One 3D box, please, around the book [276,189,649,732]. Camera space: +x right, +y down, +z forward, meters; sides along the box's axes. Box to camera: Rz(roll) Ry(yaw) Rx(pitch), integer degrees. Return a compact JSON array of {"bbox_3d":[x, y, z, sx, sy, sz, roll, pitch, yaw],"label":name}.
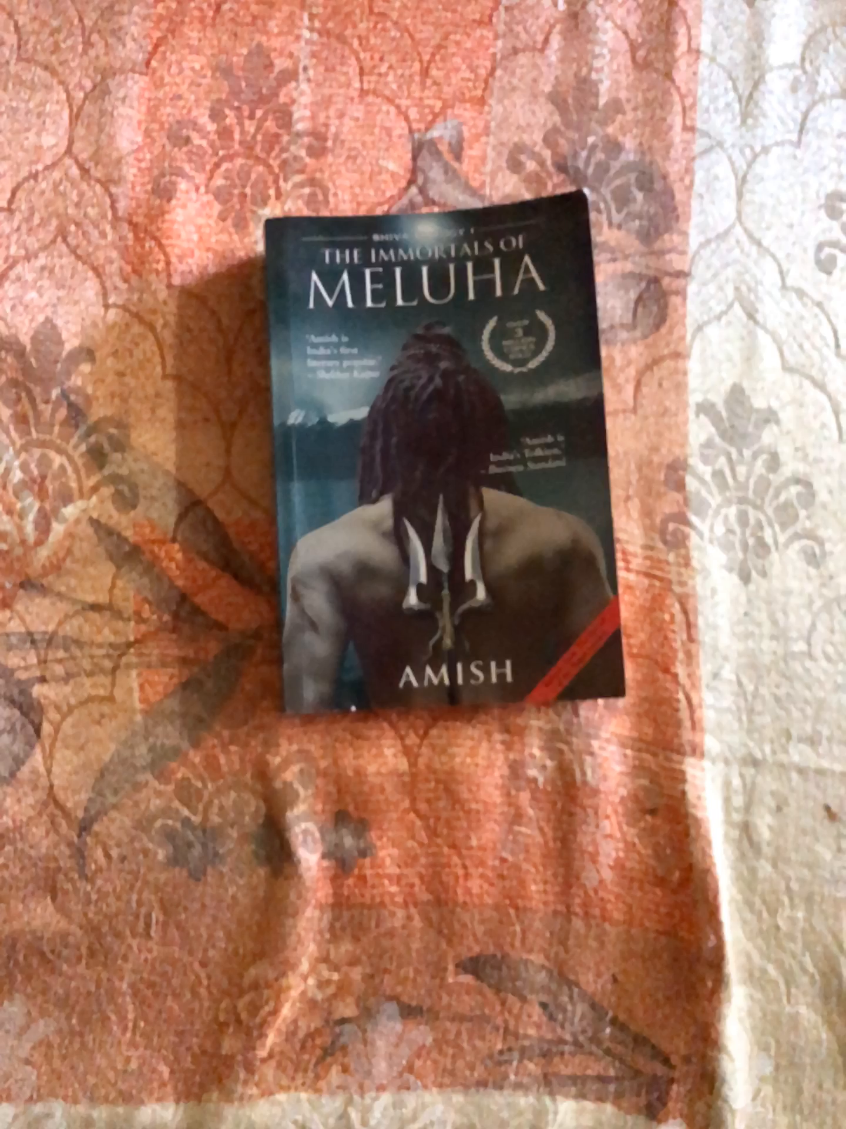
[{"bbox_3d":[0.011,-0.039,0.365,0.130,0.040,0.200,-1,82,-5],"label":"book"}]
